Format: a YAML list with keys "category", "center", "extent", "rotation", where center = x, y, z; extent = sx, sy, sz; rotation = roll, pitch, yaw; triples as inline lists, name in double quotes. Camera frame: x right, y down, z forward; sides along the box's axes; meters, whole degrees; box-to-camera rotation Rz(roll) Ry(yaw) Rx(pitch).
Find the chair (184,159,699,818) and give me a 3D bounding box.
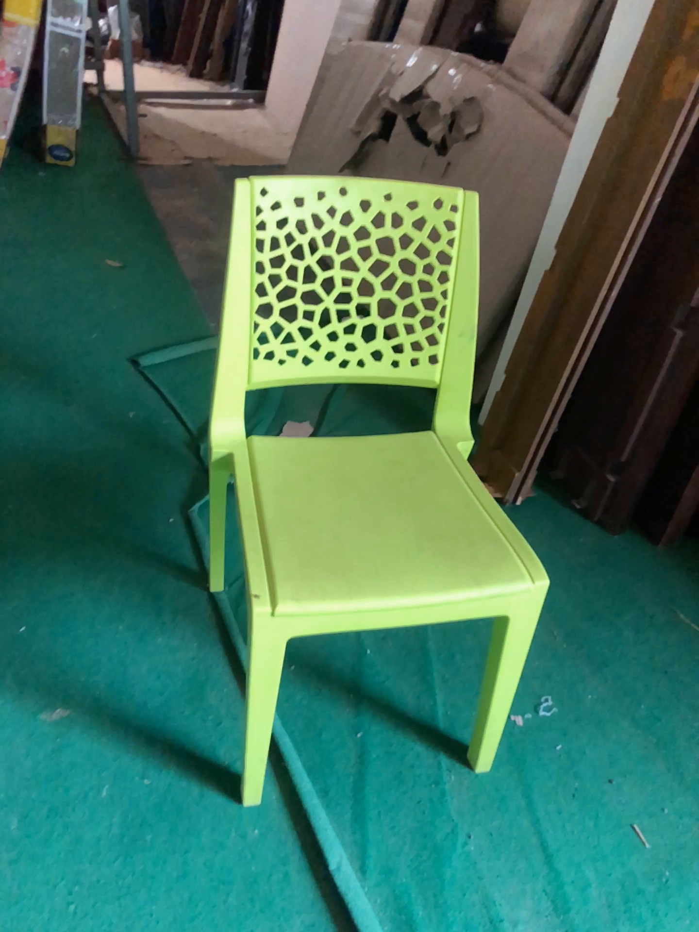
- category: "chair"
  center: [0.027, 0.009, 1.226]
  extent: [0.531, 0.775, 0.643]
  rotation: [-3, 36, -12]
